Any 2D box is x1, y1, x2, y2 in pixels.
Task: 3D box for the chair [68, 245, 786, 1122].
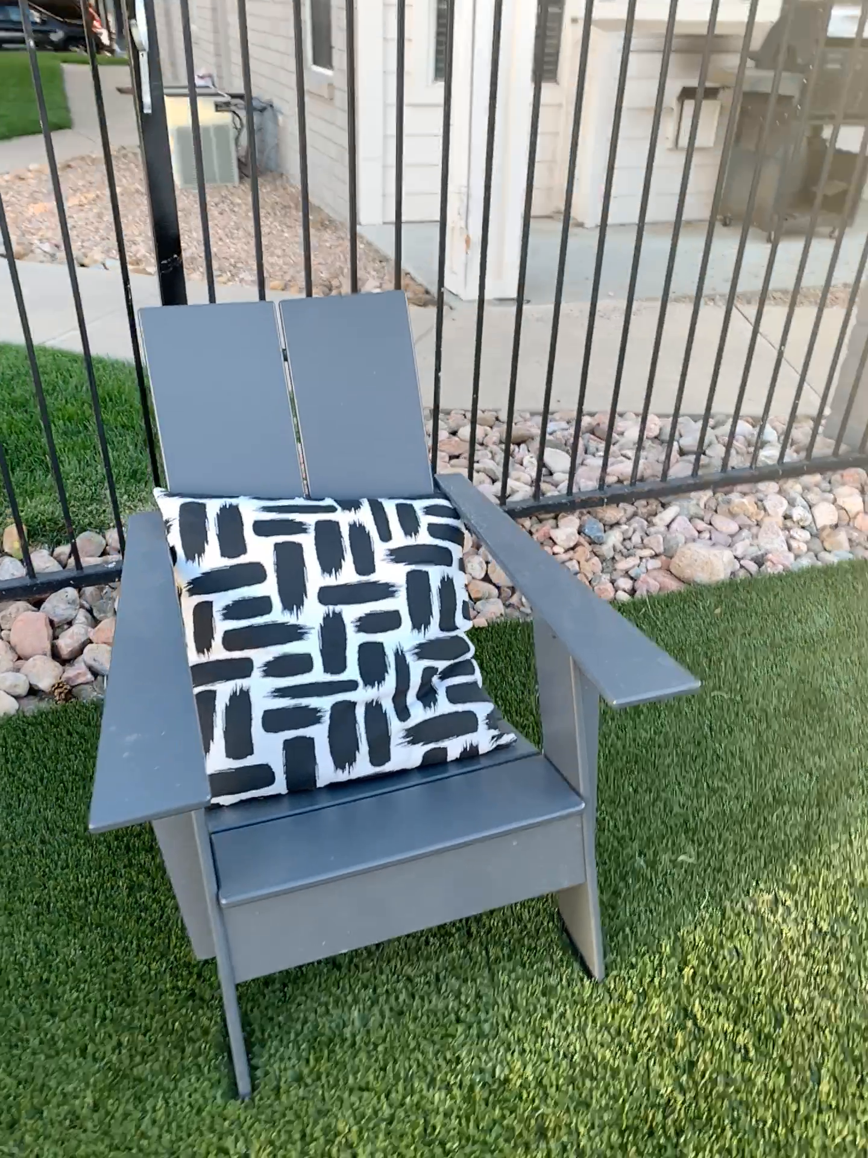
[{"bbox_3d":[-0.119,0.044,1.297,0.620,0.806,0.884,-9,34,-16],"label":"chair"}]
